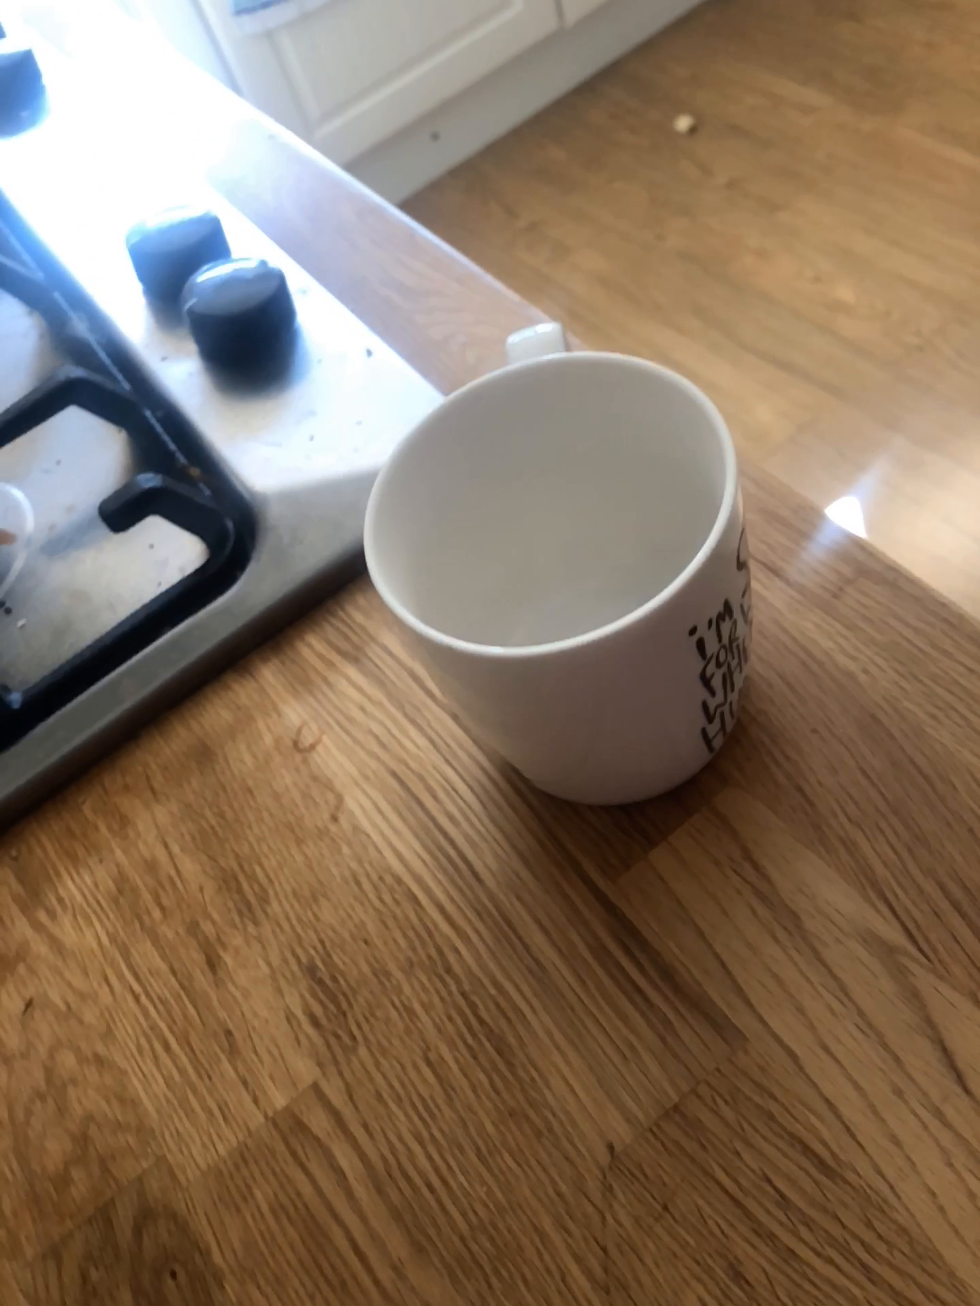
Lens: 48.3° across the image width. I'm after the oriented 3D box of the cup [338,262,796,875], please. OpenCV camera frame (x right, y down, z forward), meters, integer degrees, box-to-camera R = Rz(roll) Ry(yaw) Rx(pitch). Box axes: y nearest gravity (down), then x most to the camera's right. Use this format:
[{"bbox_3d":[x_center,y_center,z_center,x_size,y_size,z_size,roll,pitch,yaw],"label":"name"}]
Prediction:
[{"bbox_3d":[0.020,-0.019,0.284,0.090,0.087,0.115,-11,55,10],"label":"cup"}]
